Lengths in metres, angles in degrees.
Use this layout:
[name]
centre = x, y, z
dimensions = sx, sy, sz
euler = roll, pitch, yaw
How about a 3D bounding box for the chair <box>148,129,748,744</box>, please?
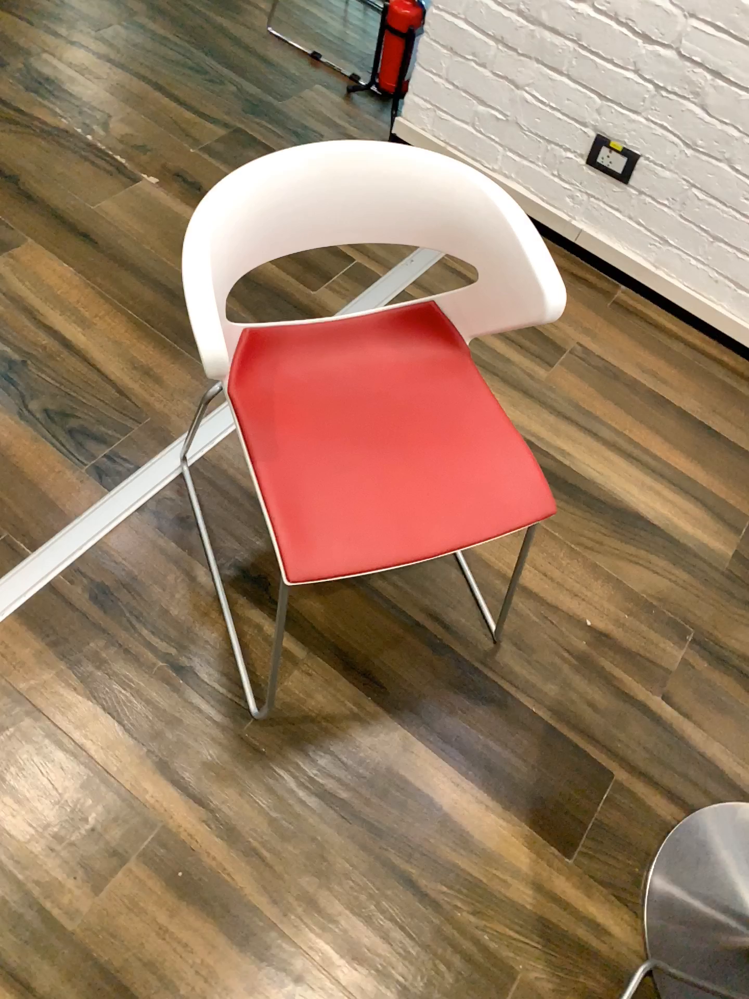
[chair]
centre = 0.012, -0.090, 1.249
dimensions = 0.591, 0.676, 0.643
euler = -12, 61, -20
